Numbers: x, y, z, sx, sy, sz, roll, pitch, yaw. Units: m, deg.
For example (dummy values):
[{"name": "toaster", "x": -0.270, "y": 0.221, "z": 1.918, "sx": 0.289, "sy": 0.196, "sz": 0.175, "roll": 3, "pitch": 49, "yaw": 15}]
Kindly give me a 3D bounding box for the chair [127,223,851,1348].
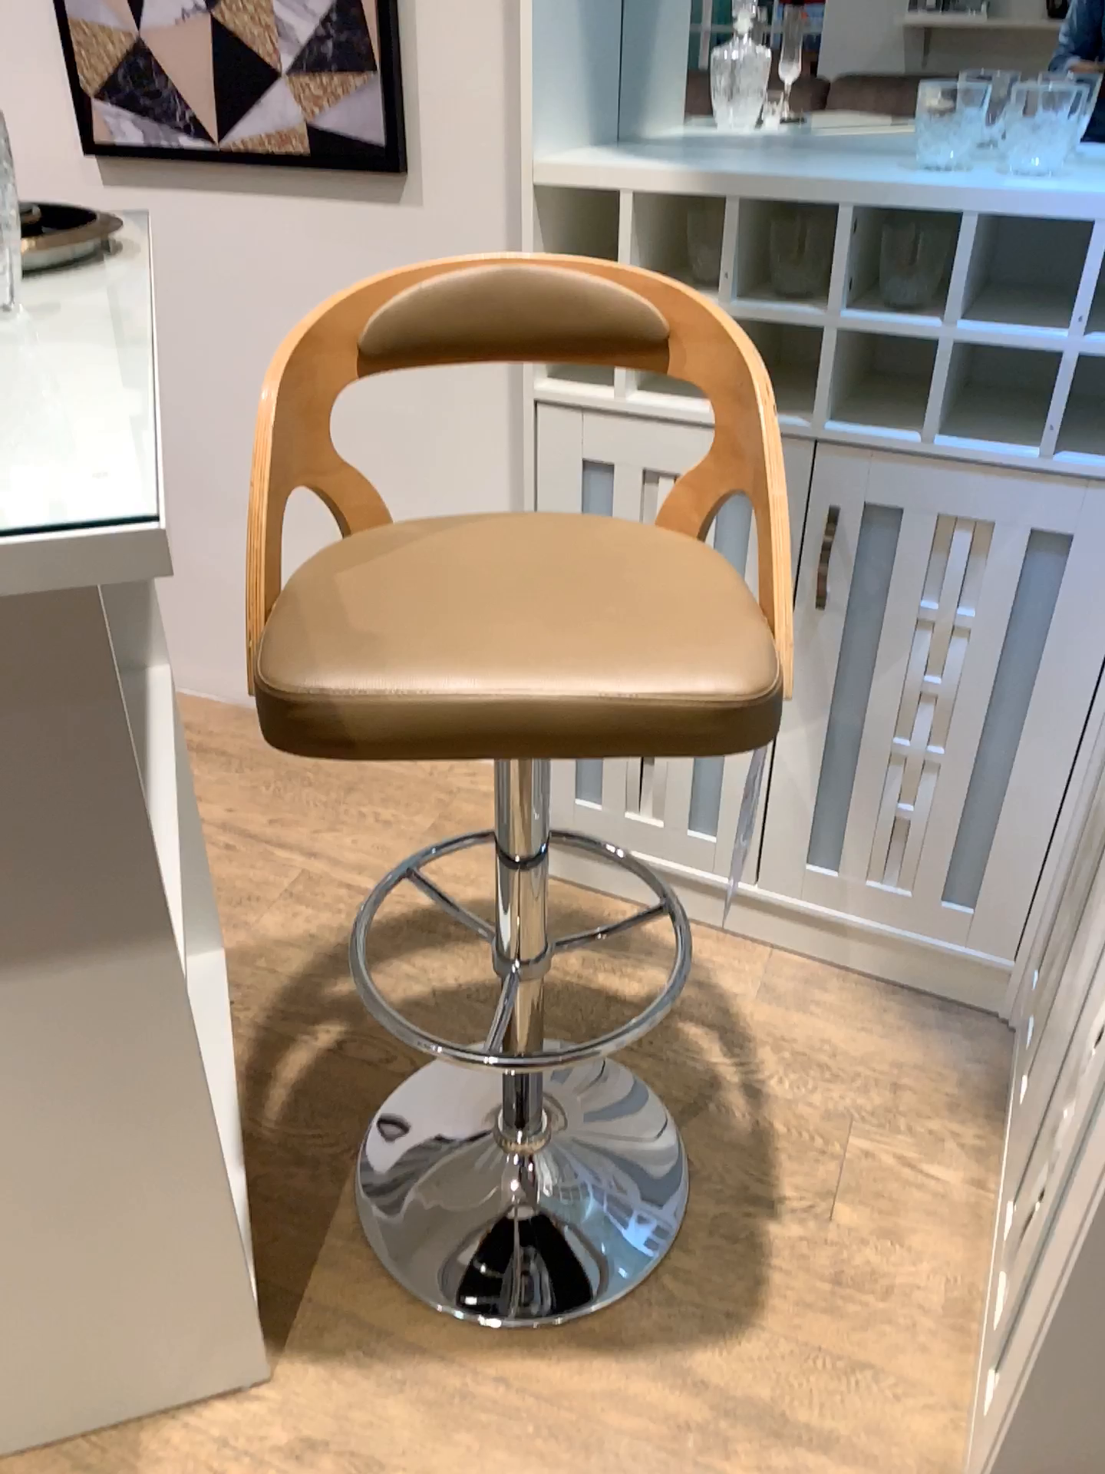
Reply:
[{"name": "chair", "x": -0.041, "y": 0.087, "z": 1.137, "sx": 0.430, "sy": 1.046, "sz": 0.462, "roll": 1, "pitch": 32, "yaw": 1}]
